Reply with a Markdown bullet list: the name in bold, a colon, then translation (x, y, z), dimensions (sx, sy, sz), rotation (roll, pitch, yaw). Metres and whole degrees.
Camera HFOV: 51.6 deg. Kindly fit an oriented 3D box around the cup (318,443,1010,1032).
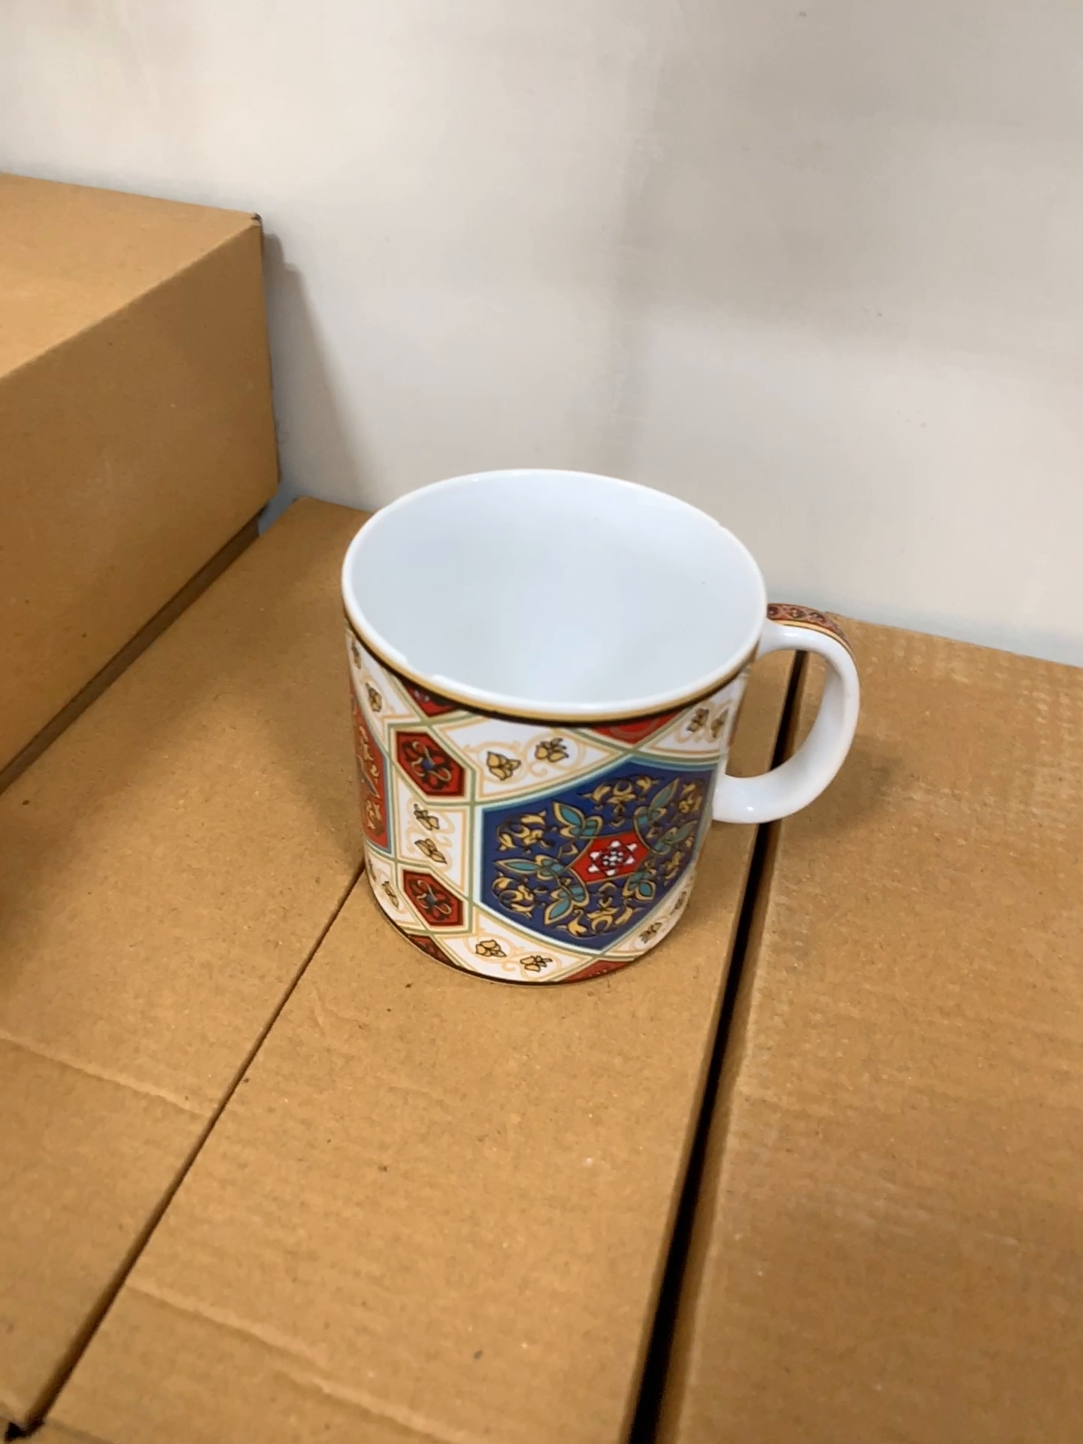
- **cup**: translation (0.011, -0.001, 0.210), dimensions (0.100, 0.069, 0.081), rotation (-2, 42, -11)
